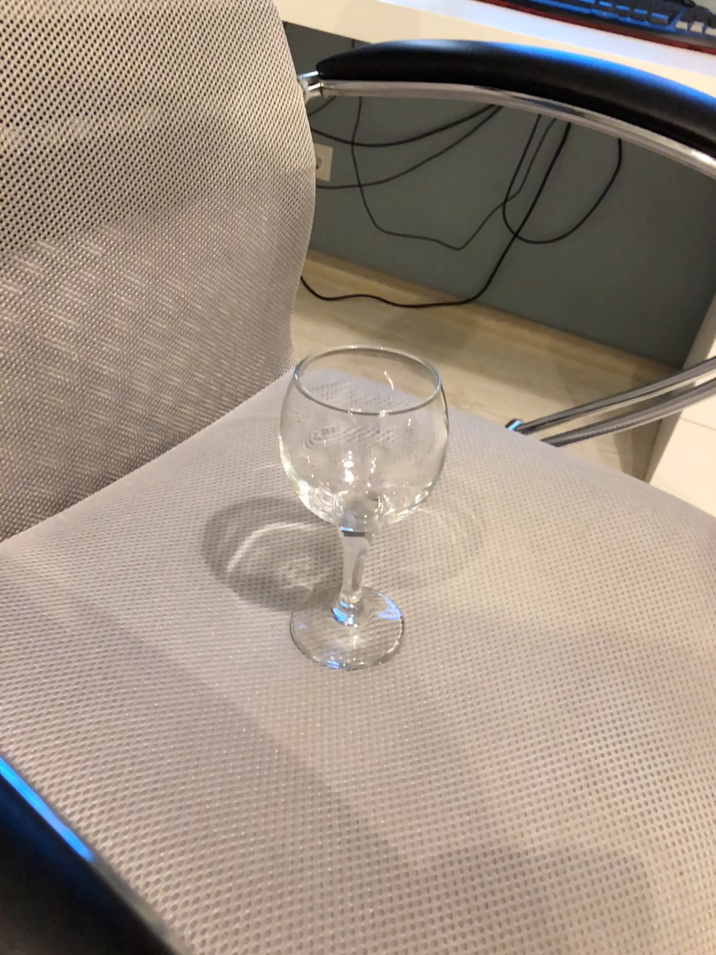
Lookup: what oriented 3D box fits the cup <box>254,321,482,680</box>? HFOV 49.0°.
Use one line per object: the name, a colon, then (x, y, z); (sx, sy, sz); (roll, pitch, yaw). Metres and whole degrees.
cup: (-0.002, 0.018, 0.421); (0.088, 0.172, 0.081); (6, 38, -5)
